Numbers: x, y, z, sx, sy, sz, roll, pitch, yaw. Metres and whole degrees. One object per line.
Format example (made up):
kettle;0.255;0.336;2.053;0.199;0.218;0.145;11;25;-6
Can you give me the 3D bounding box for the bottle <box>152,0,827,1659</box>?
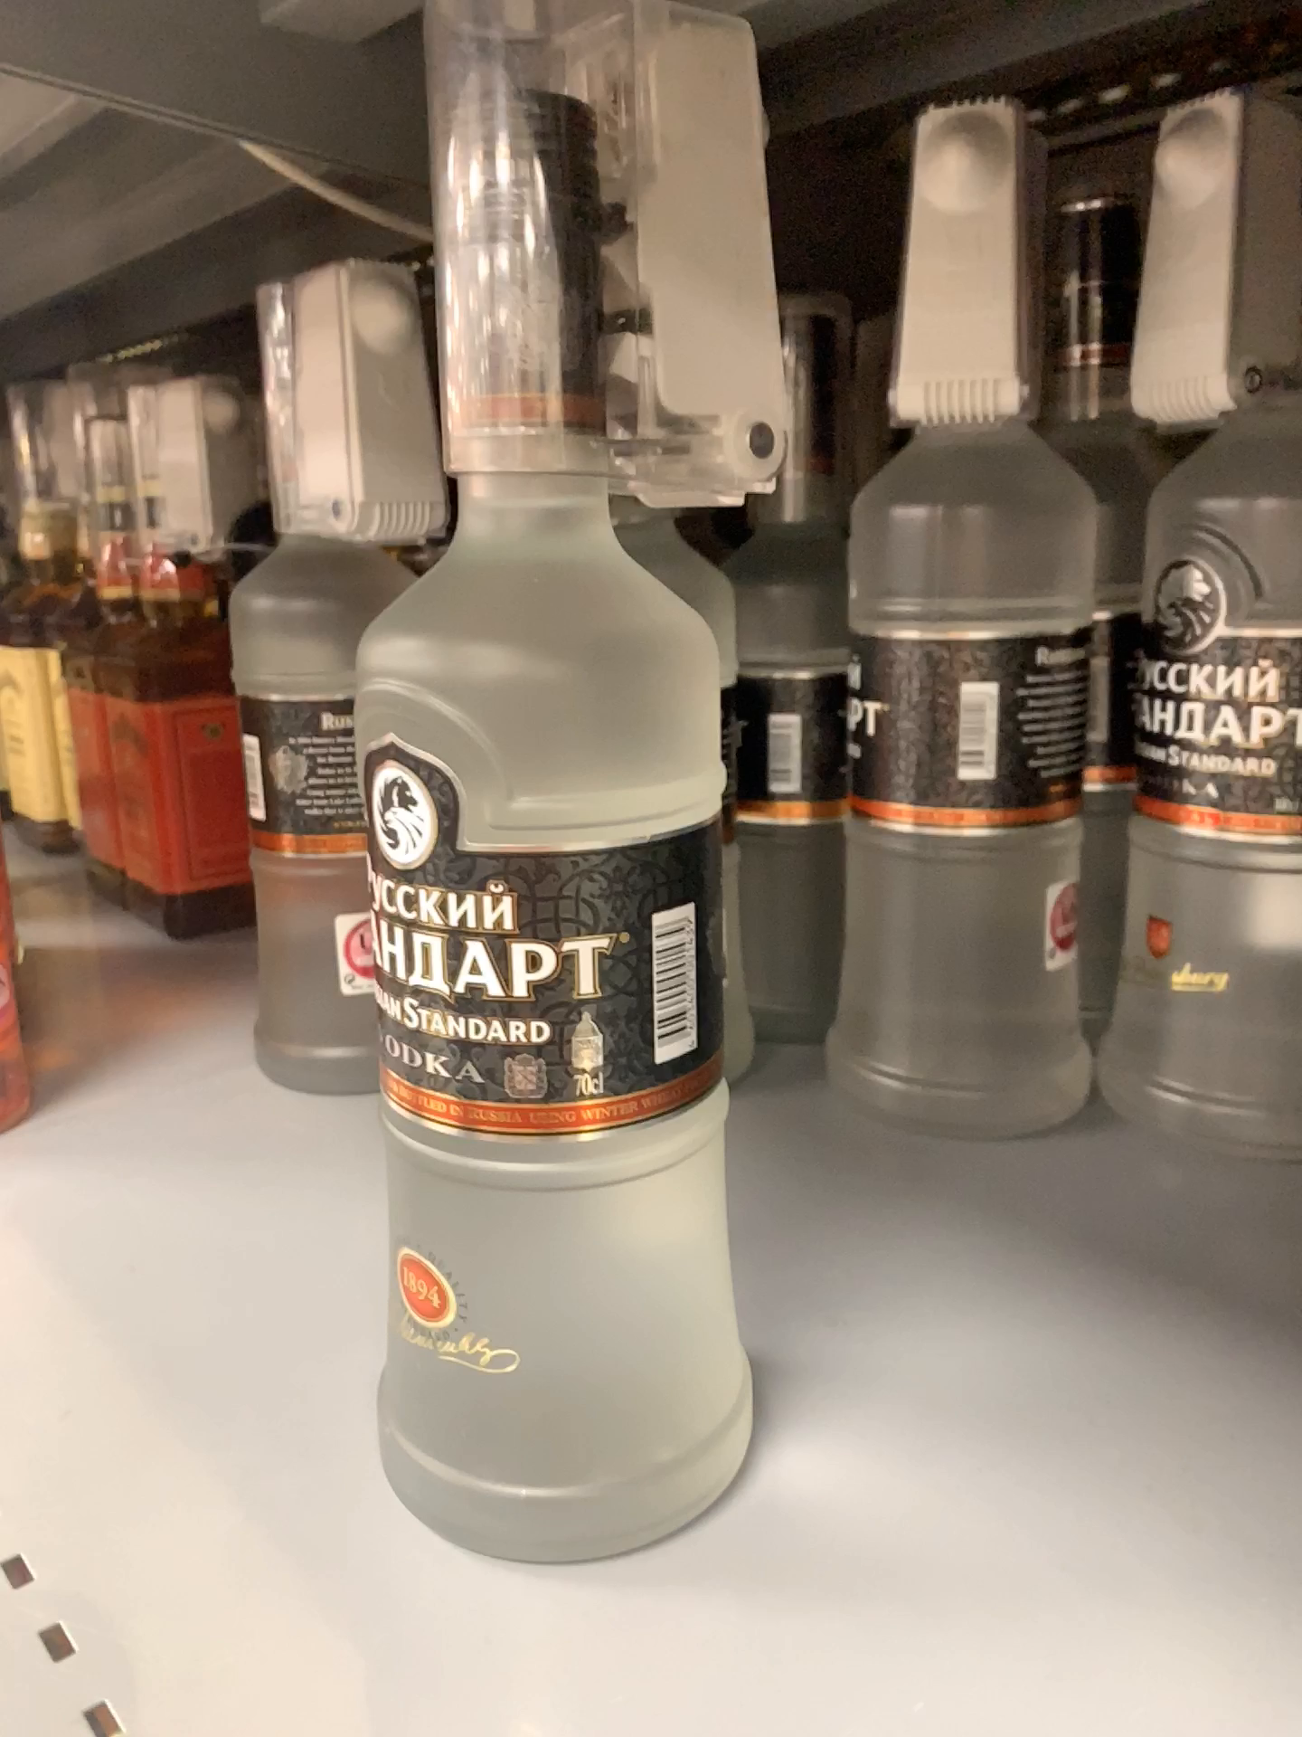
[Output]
bottle;-0.028;-0.010;0.279;0.088;0.288;0.092;-1;13;0
